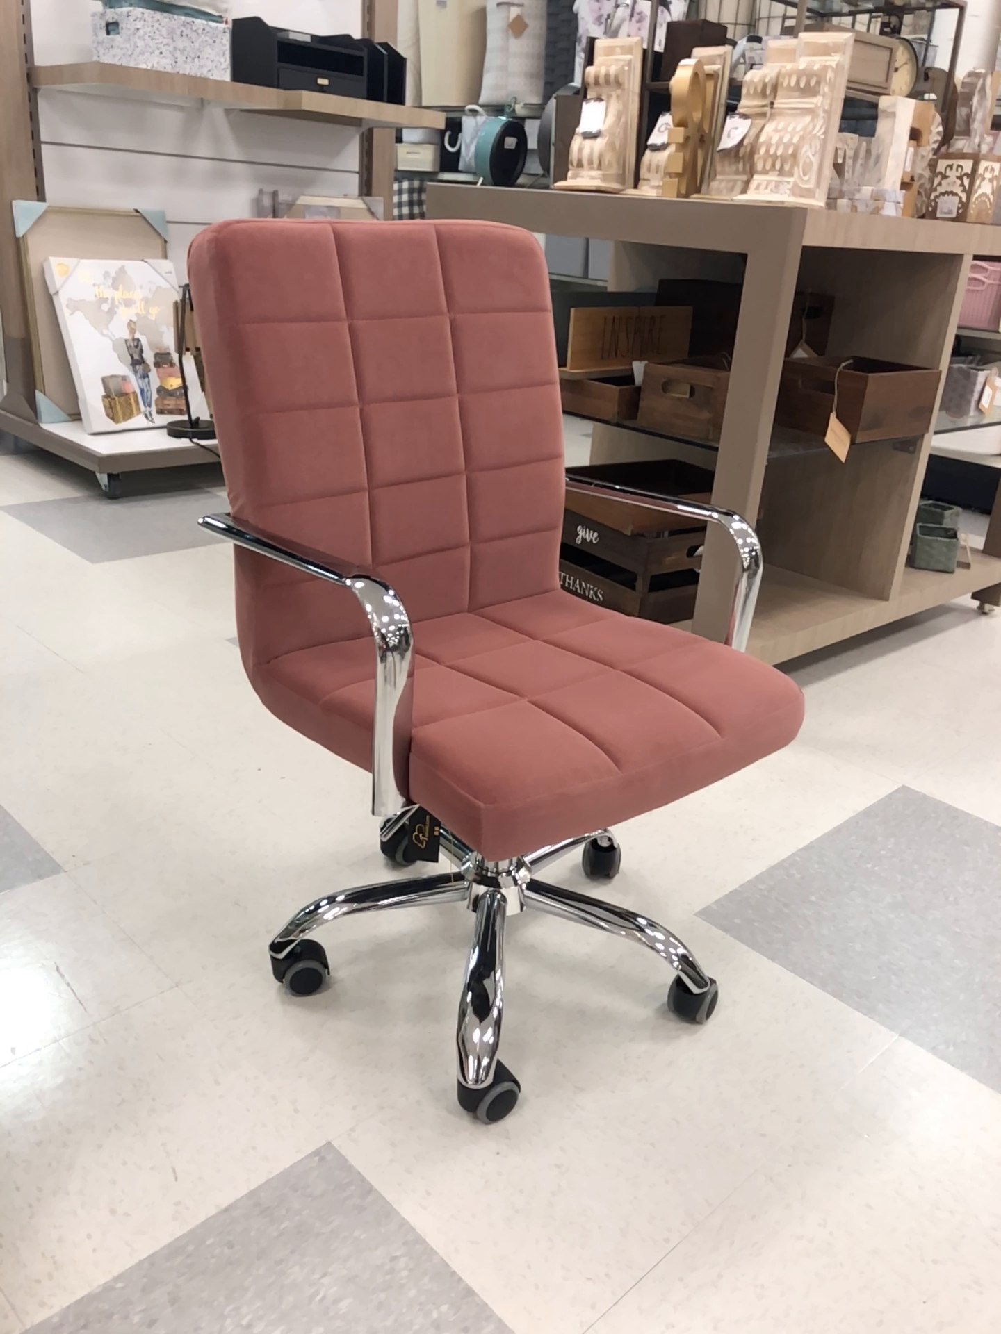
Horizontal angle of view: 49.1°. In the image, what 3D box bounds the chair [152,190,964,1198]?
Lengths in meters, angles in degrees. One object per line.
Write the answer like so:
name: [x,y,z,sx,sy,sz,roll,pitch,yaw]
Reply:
chair: [0.022,-0.049,1.235,0.566,0.843,0.569,-15,29,-39]
